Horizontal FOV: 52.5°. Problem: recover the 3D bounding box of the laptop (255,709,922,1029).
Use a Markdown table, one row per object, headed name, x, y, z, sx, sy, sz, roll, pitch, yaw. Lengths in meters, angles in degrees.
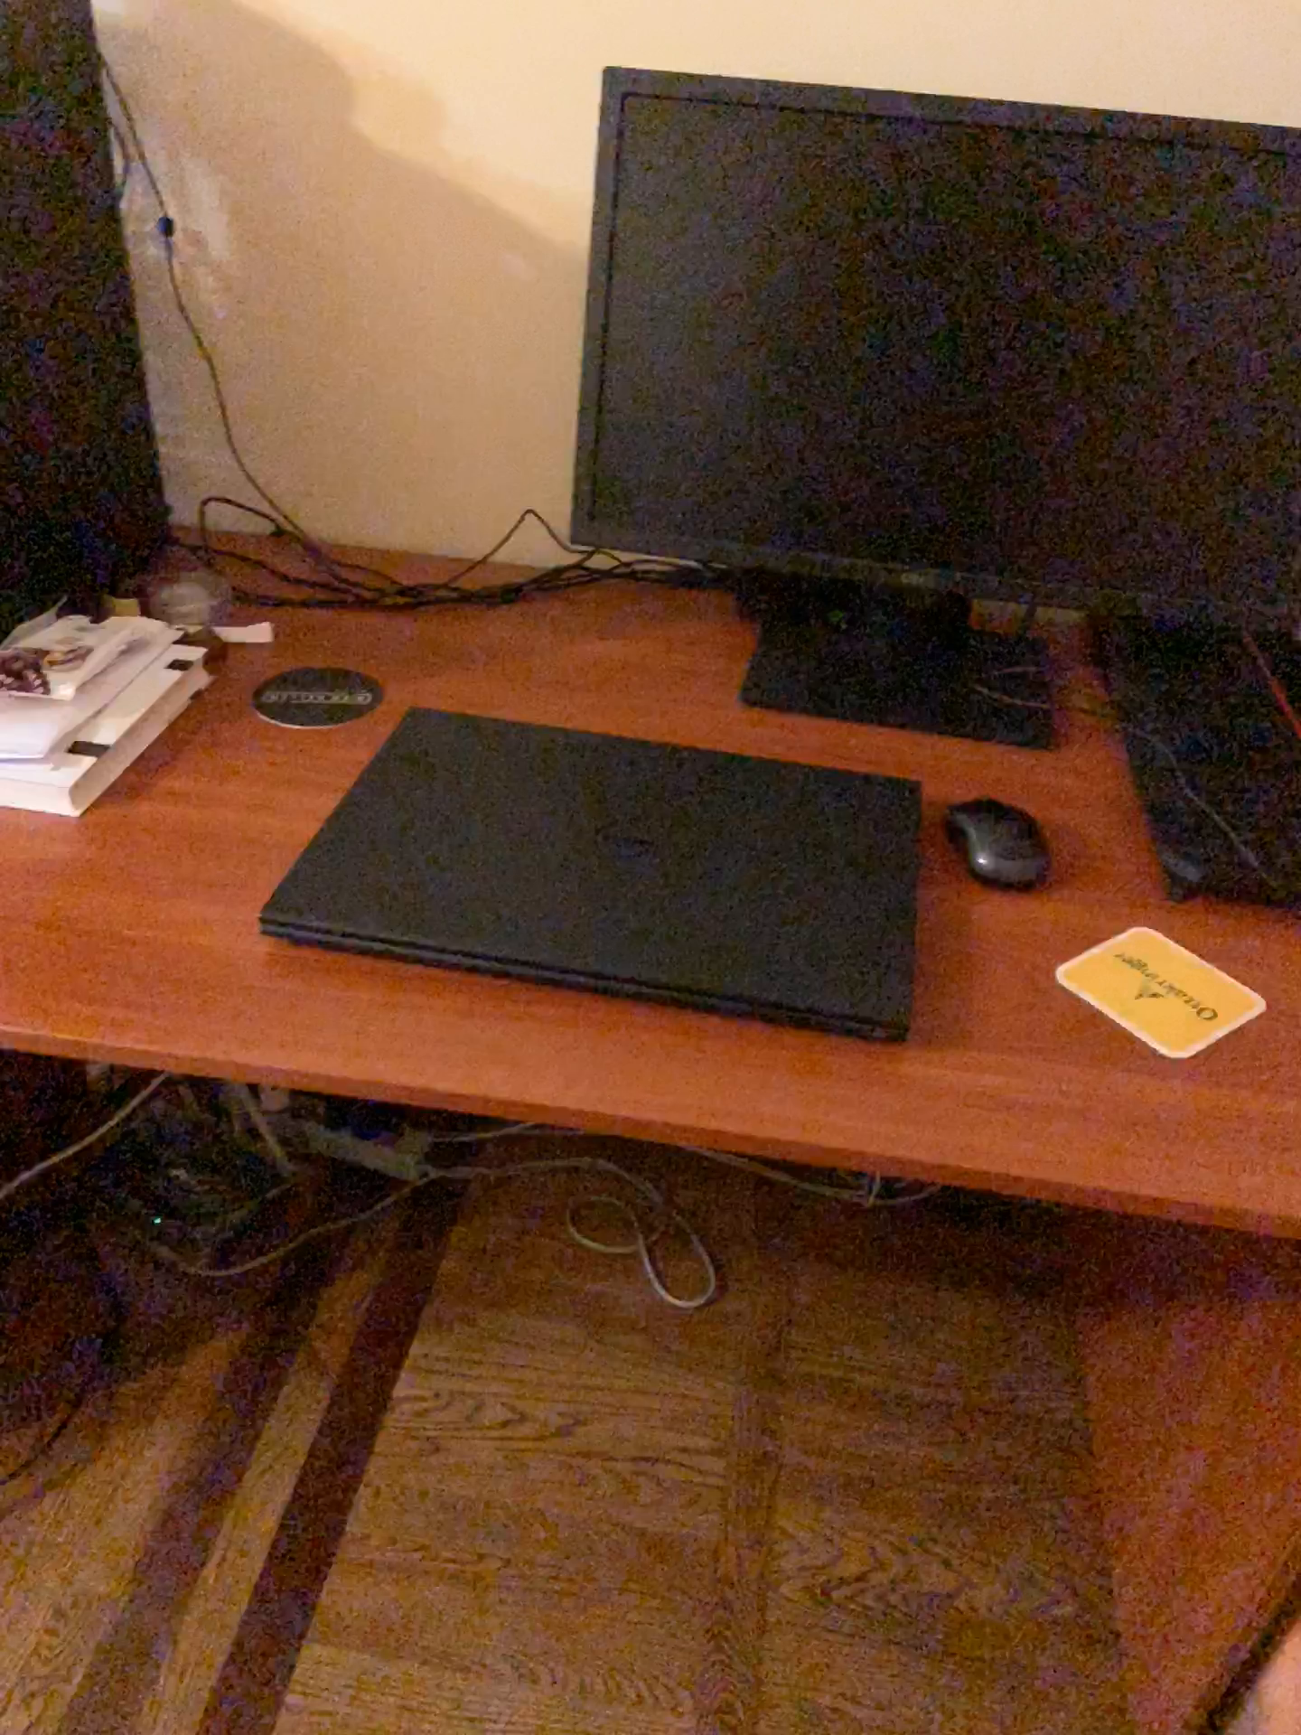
| name | x | y | z | sx | sy | sz | roll | pitch | yaw |
| --- | --- | --- | --- | --- | --- | --- | --- | --- | --- |
| laptop | -0.018 | -0.014 | 0.814 | 0.359 | 0.002 | 0.249 | 9 | 36 | 6 |
